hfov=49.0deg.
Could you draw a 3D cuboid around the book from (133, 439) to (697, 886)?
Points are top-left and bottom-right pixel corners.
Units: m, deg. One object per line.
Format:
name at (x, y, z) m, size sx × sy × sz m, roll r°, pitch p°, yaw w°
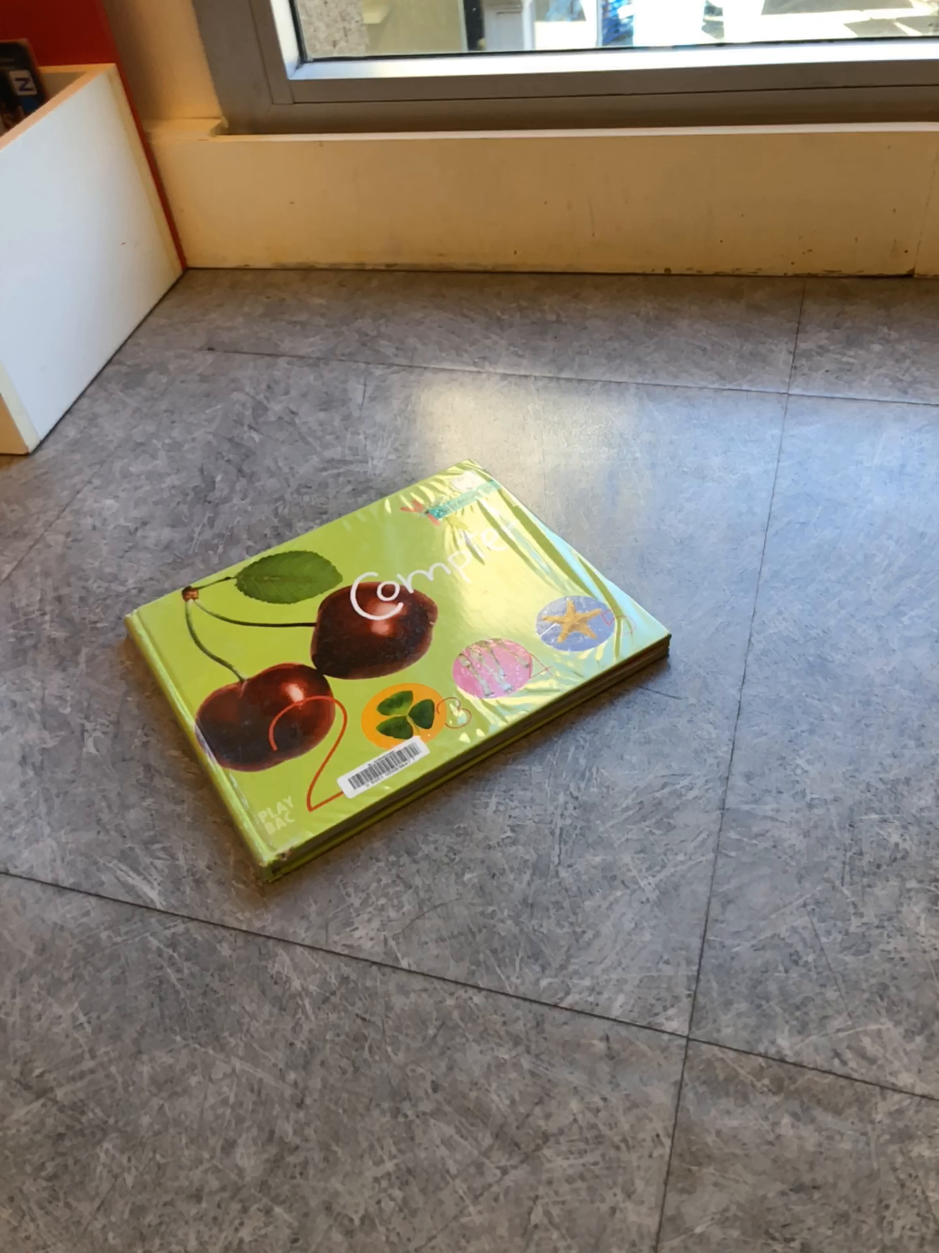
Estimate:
book at (-0.038, 0.000, 0.610) m, size 0.256 × 0.021 × 0.222 m, roll -27°, pitch 50°, yaw -18°
